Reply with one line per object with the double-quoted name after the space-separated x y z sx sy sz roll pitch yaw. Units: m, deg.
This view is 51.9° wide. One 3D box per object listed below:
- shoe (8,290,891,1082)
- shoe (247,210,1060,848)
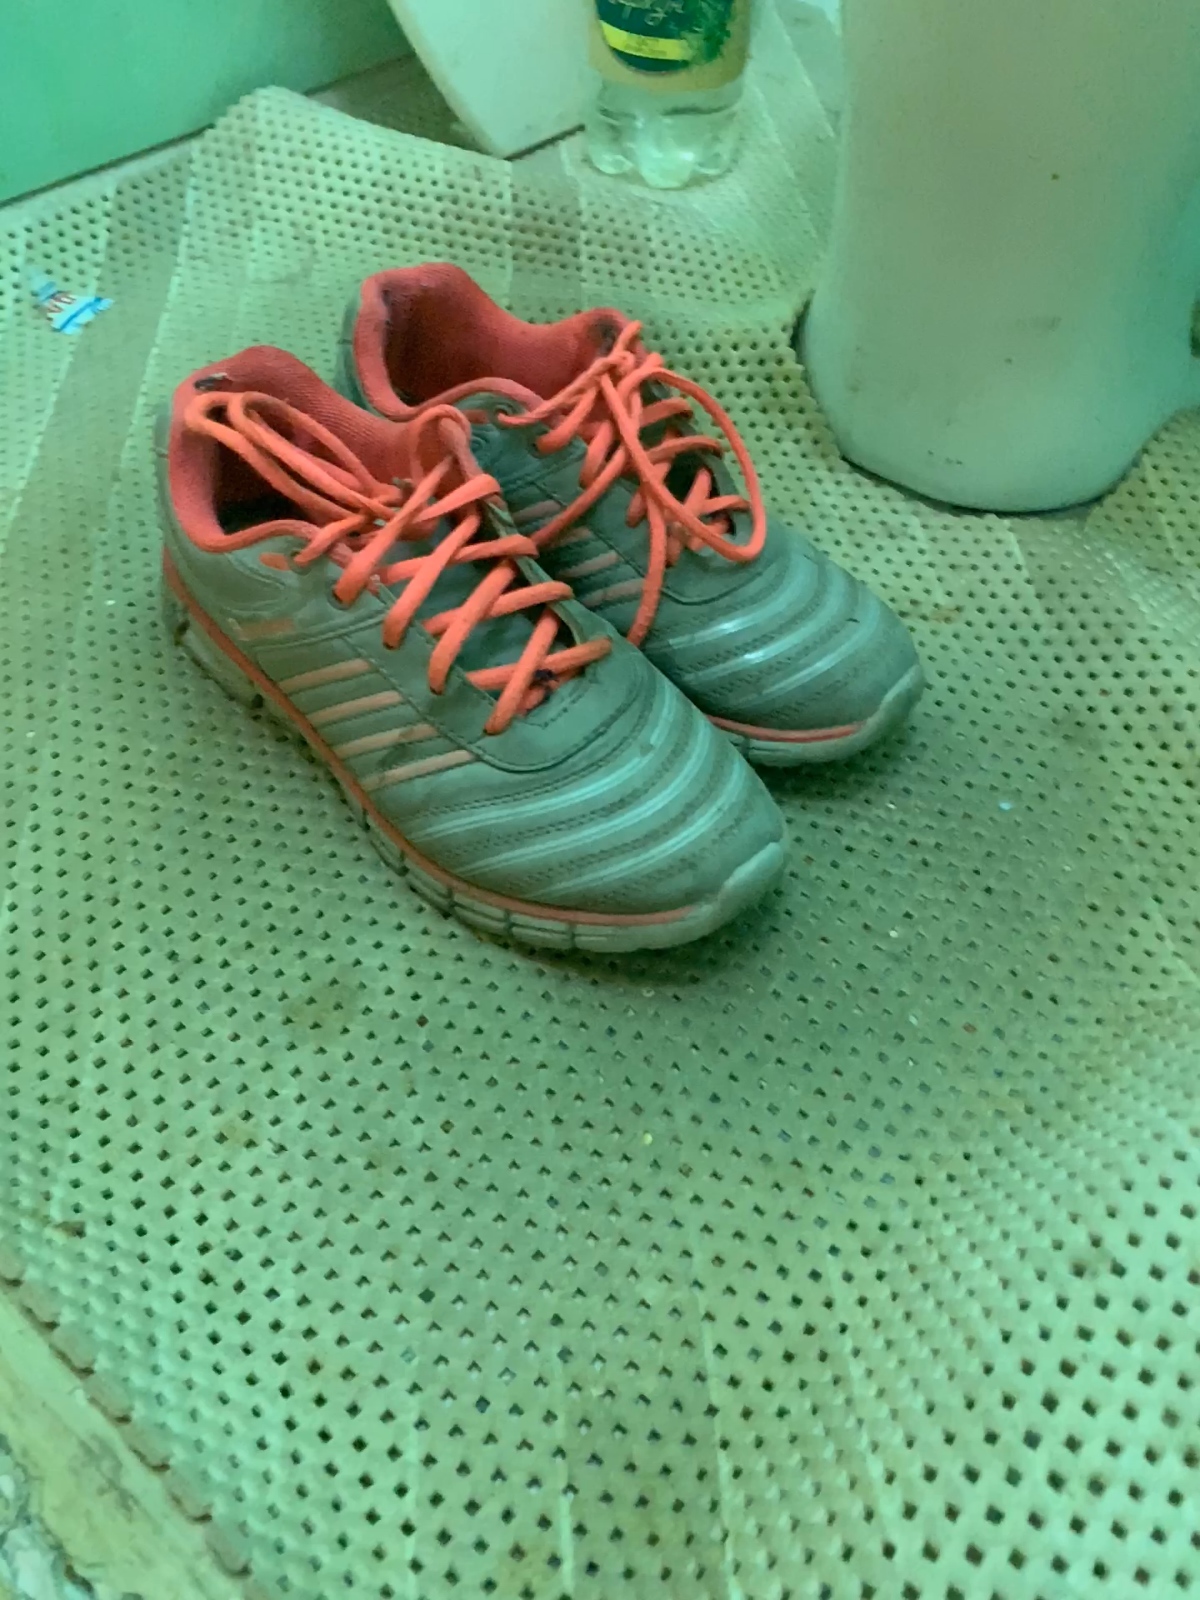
-0.057 -0.052 0.401 0.269 0.089 0.110 38 58 24 "shoe"
0.010 -0.113 0.462 0.271 0.089 0.111 33 56 21 "shoe"
